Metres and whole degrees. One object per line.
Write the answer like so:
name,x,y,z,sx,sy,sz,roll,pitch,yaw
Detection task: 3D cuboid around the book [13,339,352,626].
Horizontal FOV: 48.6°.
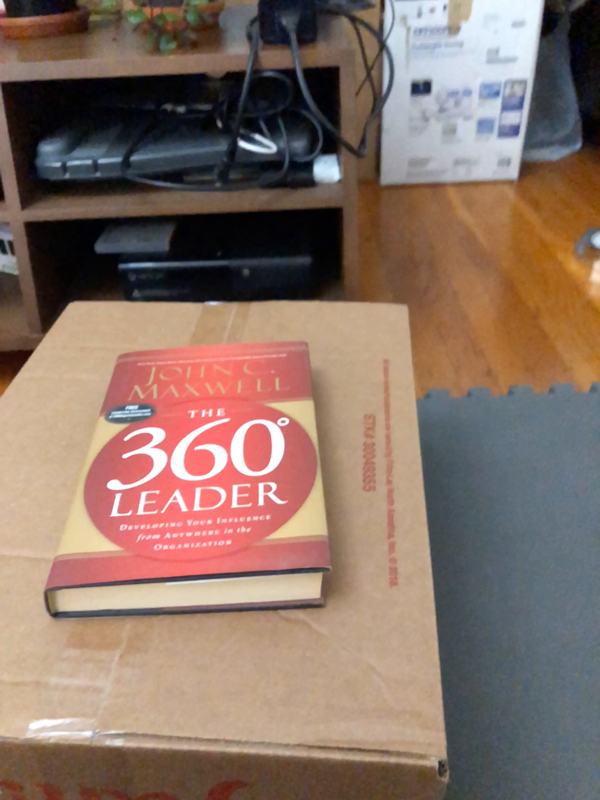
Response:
book,-0.064,0.038,0.458,0.180,0.030,0.241,-3,36,1
